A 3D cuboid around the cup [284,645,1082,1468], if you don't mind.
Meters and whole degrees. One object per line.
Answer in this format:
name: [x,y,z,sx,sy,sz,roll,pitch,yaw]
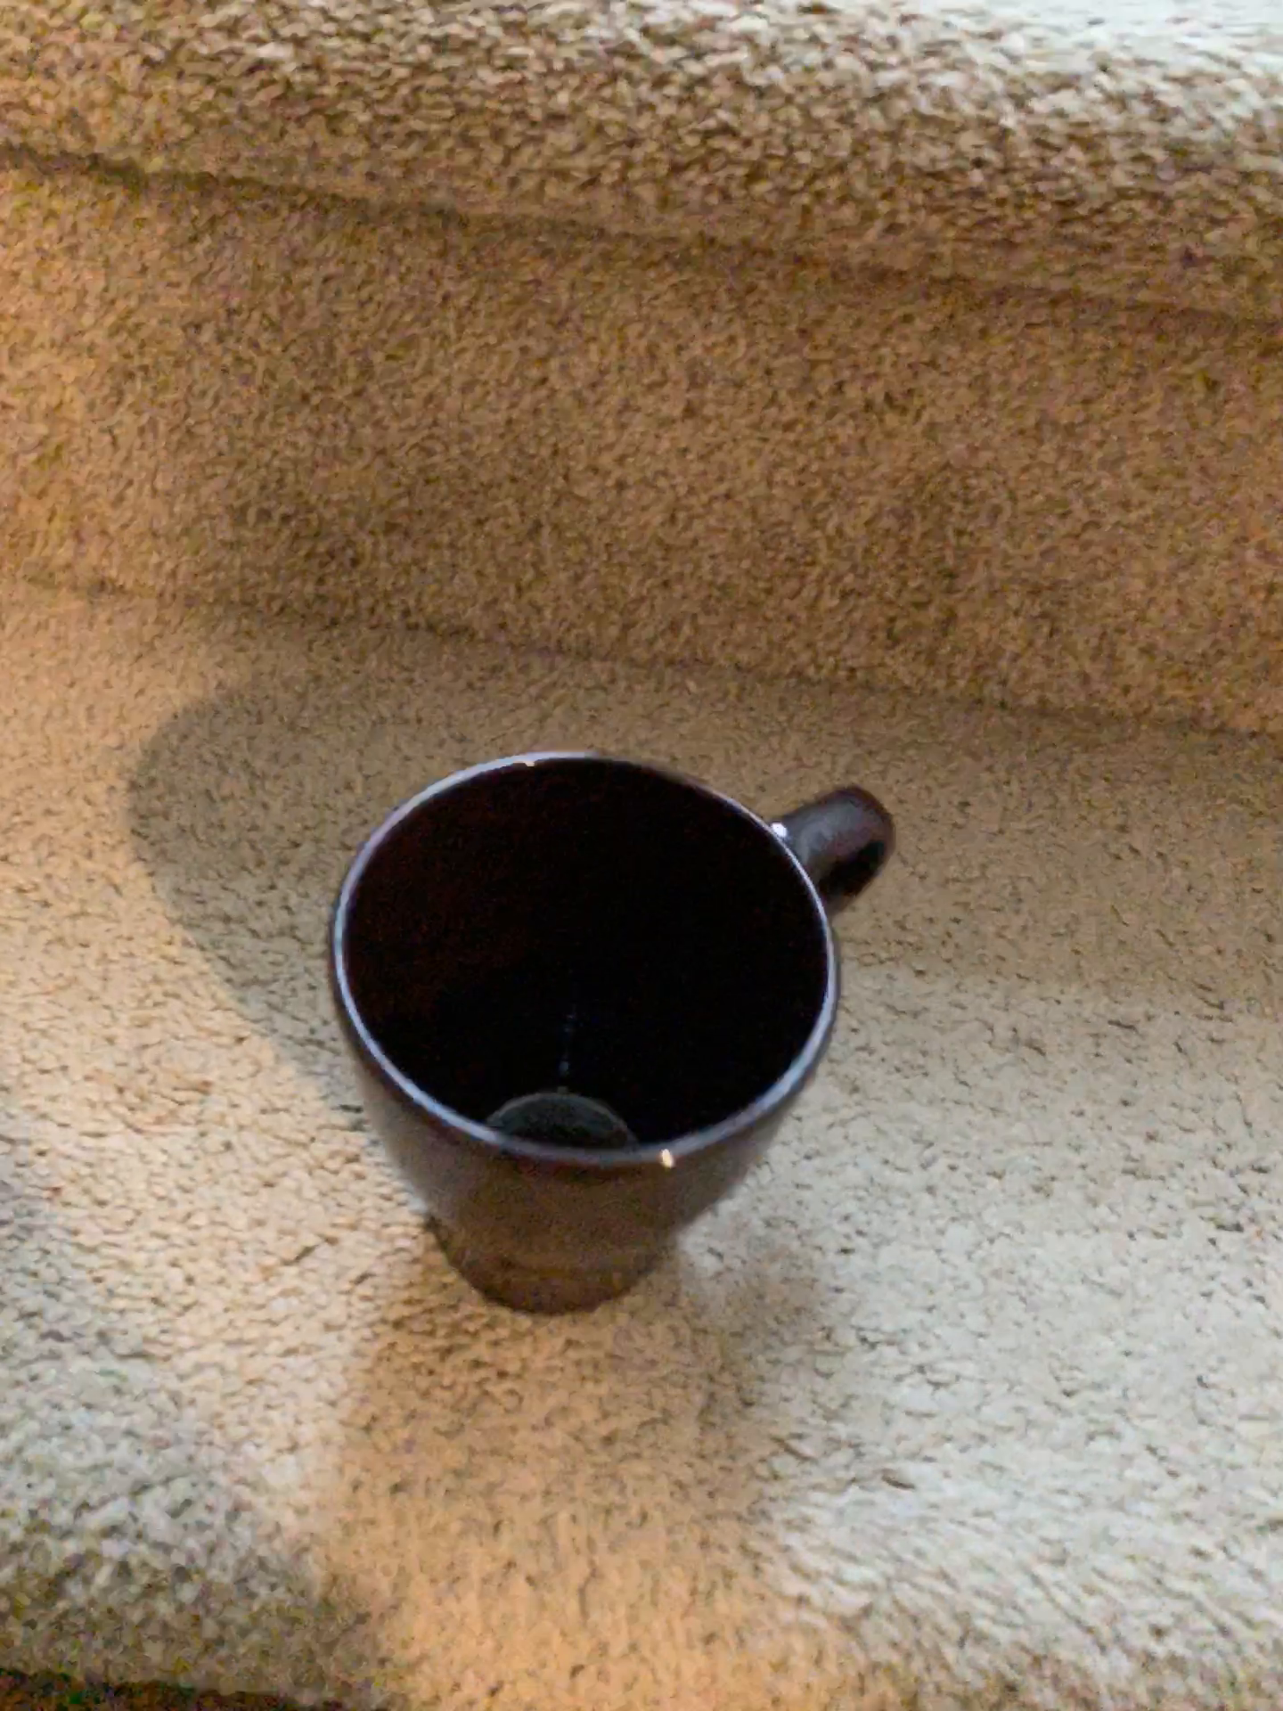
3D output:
cup: [0.004,0.037,0.260,0.110,0.099,0.081,-25,56,-27]
